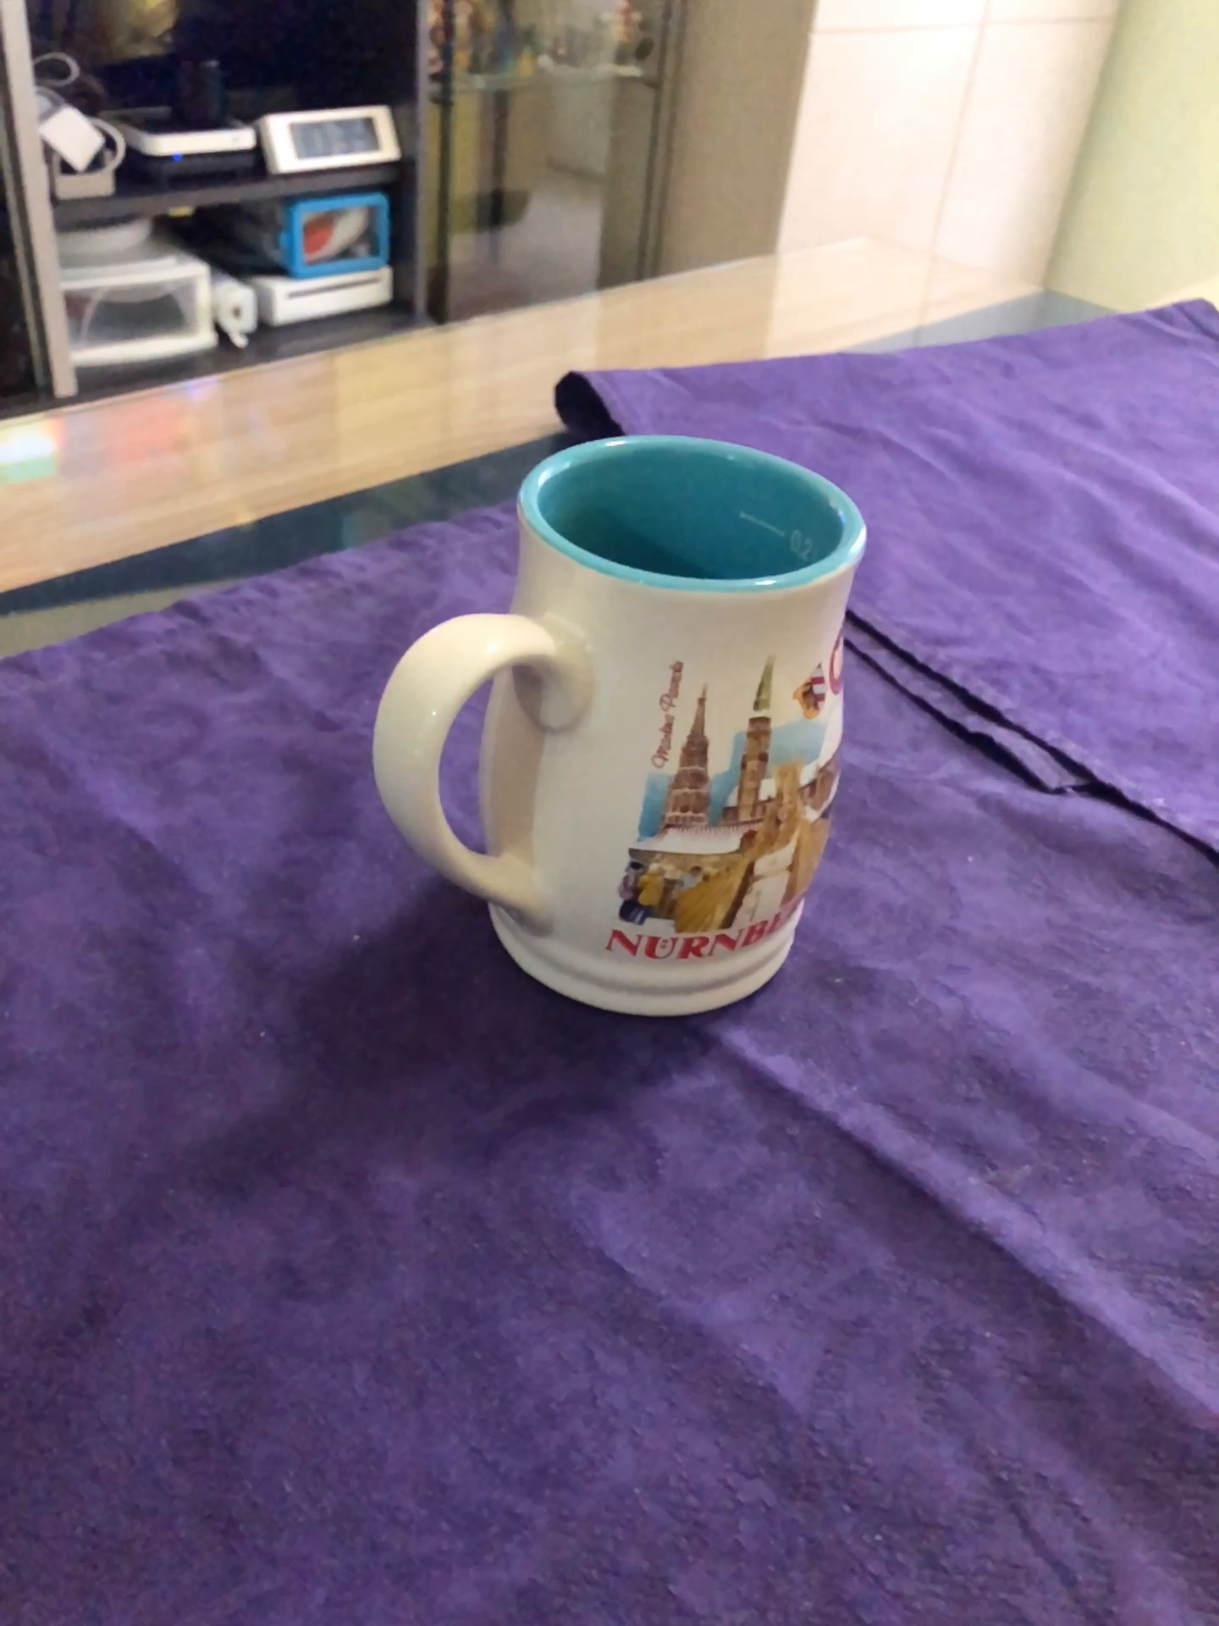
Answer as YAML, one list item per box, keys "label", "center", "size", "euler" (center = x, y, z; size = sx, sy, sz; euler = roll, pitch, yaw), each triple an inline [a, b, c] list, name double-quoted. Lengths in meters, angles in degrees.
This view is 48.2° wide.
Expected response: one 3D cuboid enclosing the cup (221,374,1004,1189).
- label: "cup"
  center: [-0.001, -0.014, 0.280]
  size: [0.120, 0.109, 0.080]
  euler: [-25, 46, -35]
